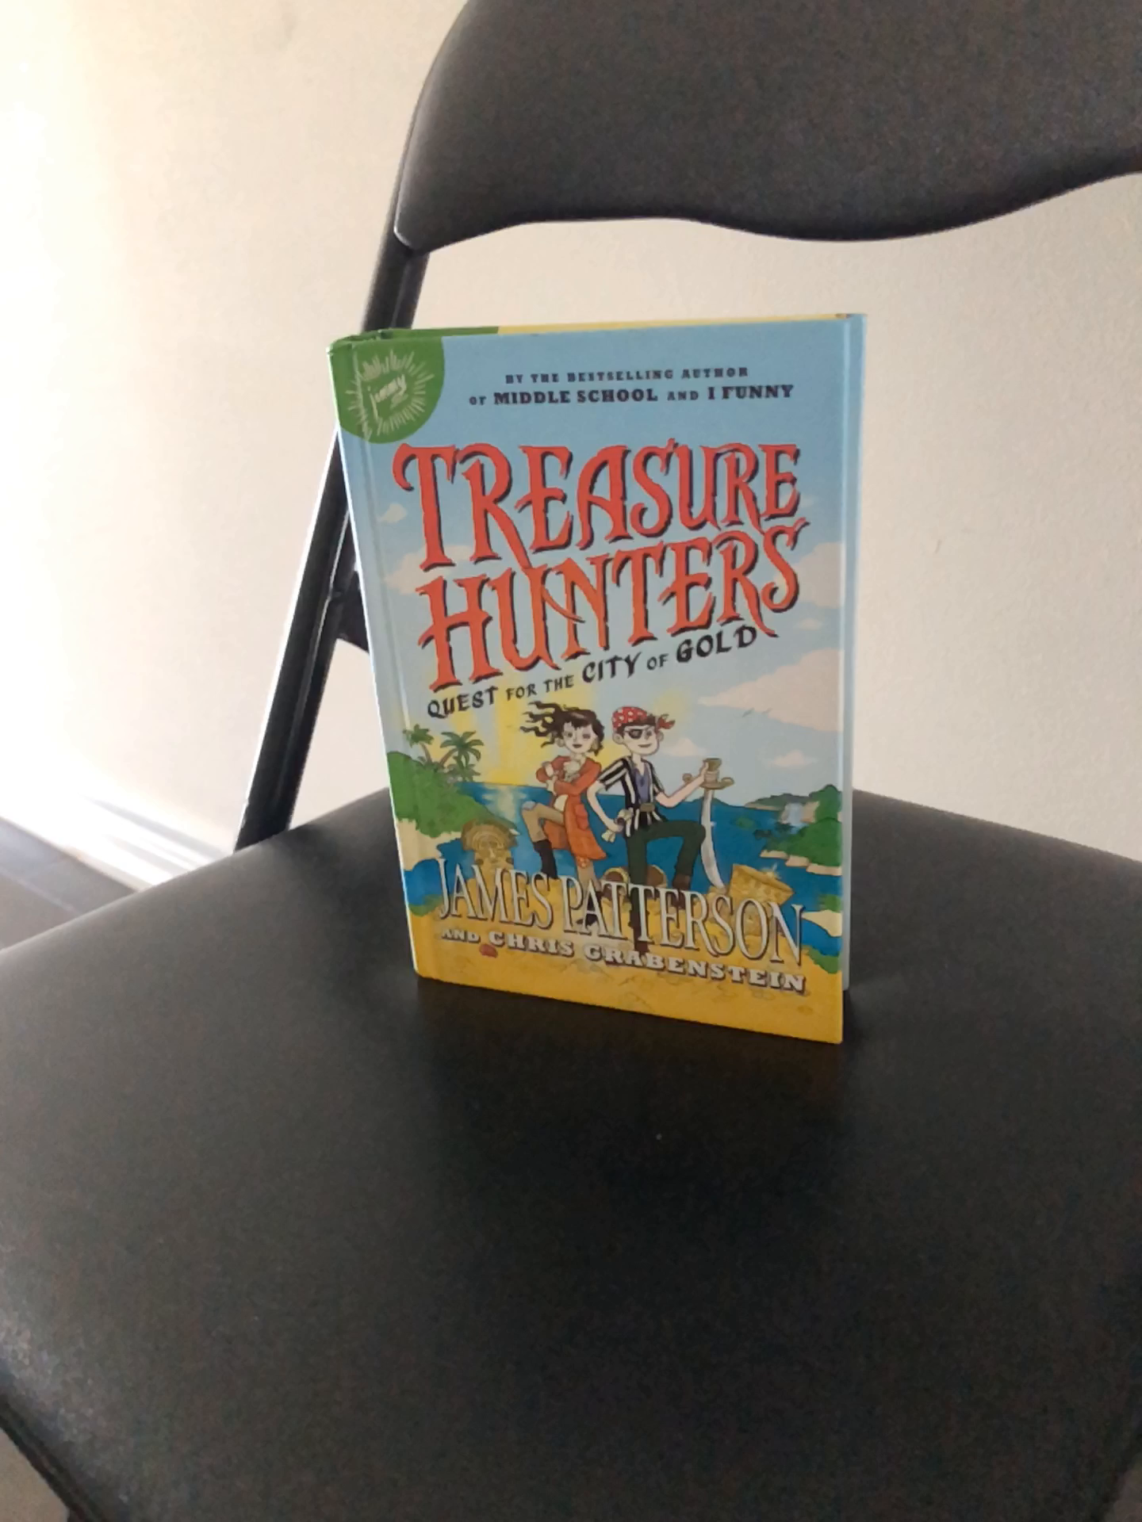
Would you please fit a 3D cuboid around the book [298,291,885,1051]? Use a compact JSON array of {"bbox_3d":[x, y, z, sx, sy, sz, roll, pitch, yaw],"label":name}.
[{"bbox_3d":[0.014,-0.022,0.387,0.155,0.215,0.040,4,27,22],"label":"book"}]
